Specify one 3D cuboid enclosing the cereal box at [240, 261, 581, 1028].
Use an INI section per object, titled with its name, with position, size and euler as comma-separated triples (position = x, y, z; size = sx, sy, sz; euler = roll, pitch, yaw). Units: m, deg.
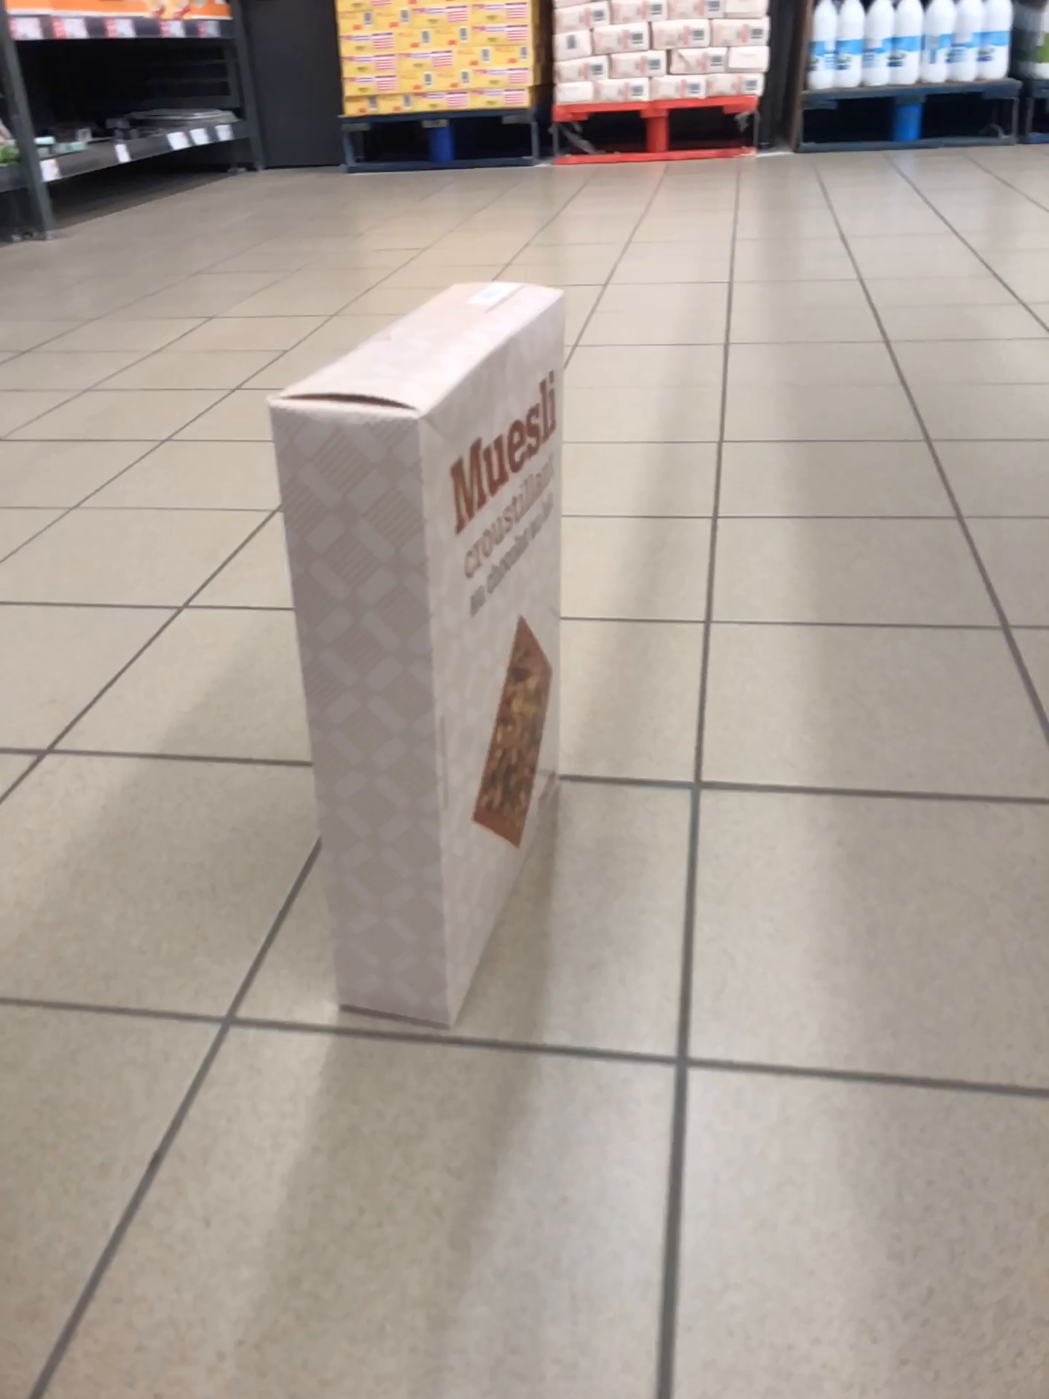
[cereal box]
position = -0.031, -0.032, 0.499
size = 0.060, 0.268, 0.201
euler = 8, 31, 14
